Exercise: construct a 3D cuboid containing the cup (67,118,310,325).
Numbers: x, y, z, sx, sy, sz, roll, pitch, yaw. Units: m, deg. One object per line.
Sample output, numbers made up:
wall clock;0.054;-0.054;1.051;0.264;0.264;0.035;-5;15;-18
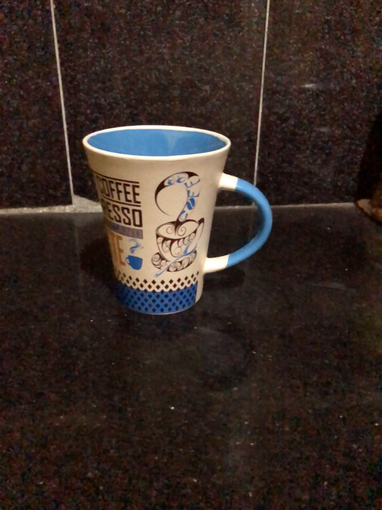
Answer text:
cup;-0.001;-0.028;0.290;0.130;0.109;0.091;3;26;2
